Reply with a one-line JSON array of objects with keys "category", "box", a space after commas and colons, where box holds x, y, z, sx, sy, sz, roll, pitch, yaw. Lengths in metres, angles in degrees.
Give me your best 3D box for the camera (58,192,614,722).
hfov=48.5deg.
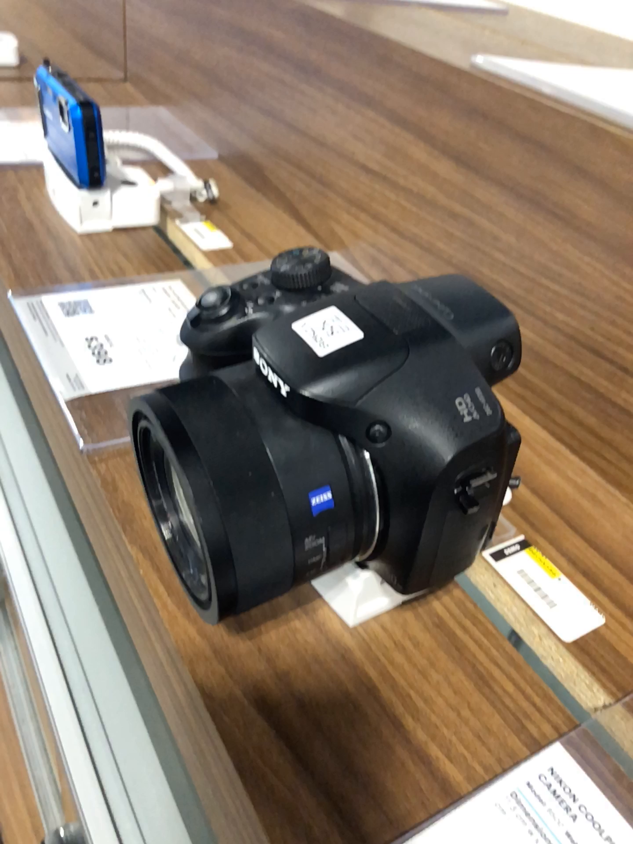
[{"category": "camera", "box": [-0.002, -0.002, 0.244, 0.120, 0.089, 0.131, -20, 46, -24]}]
